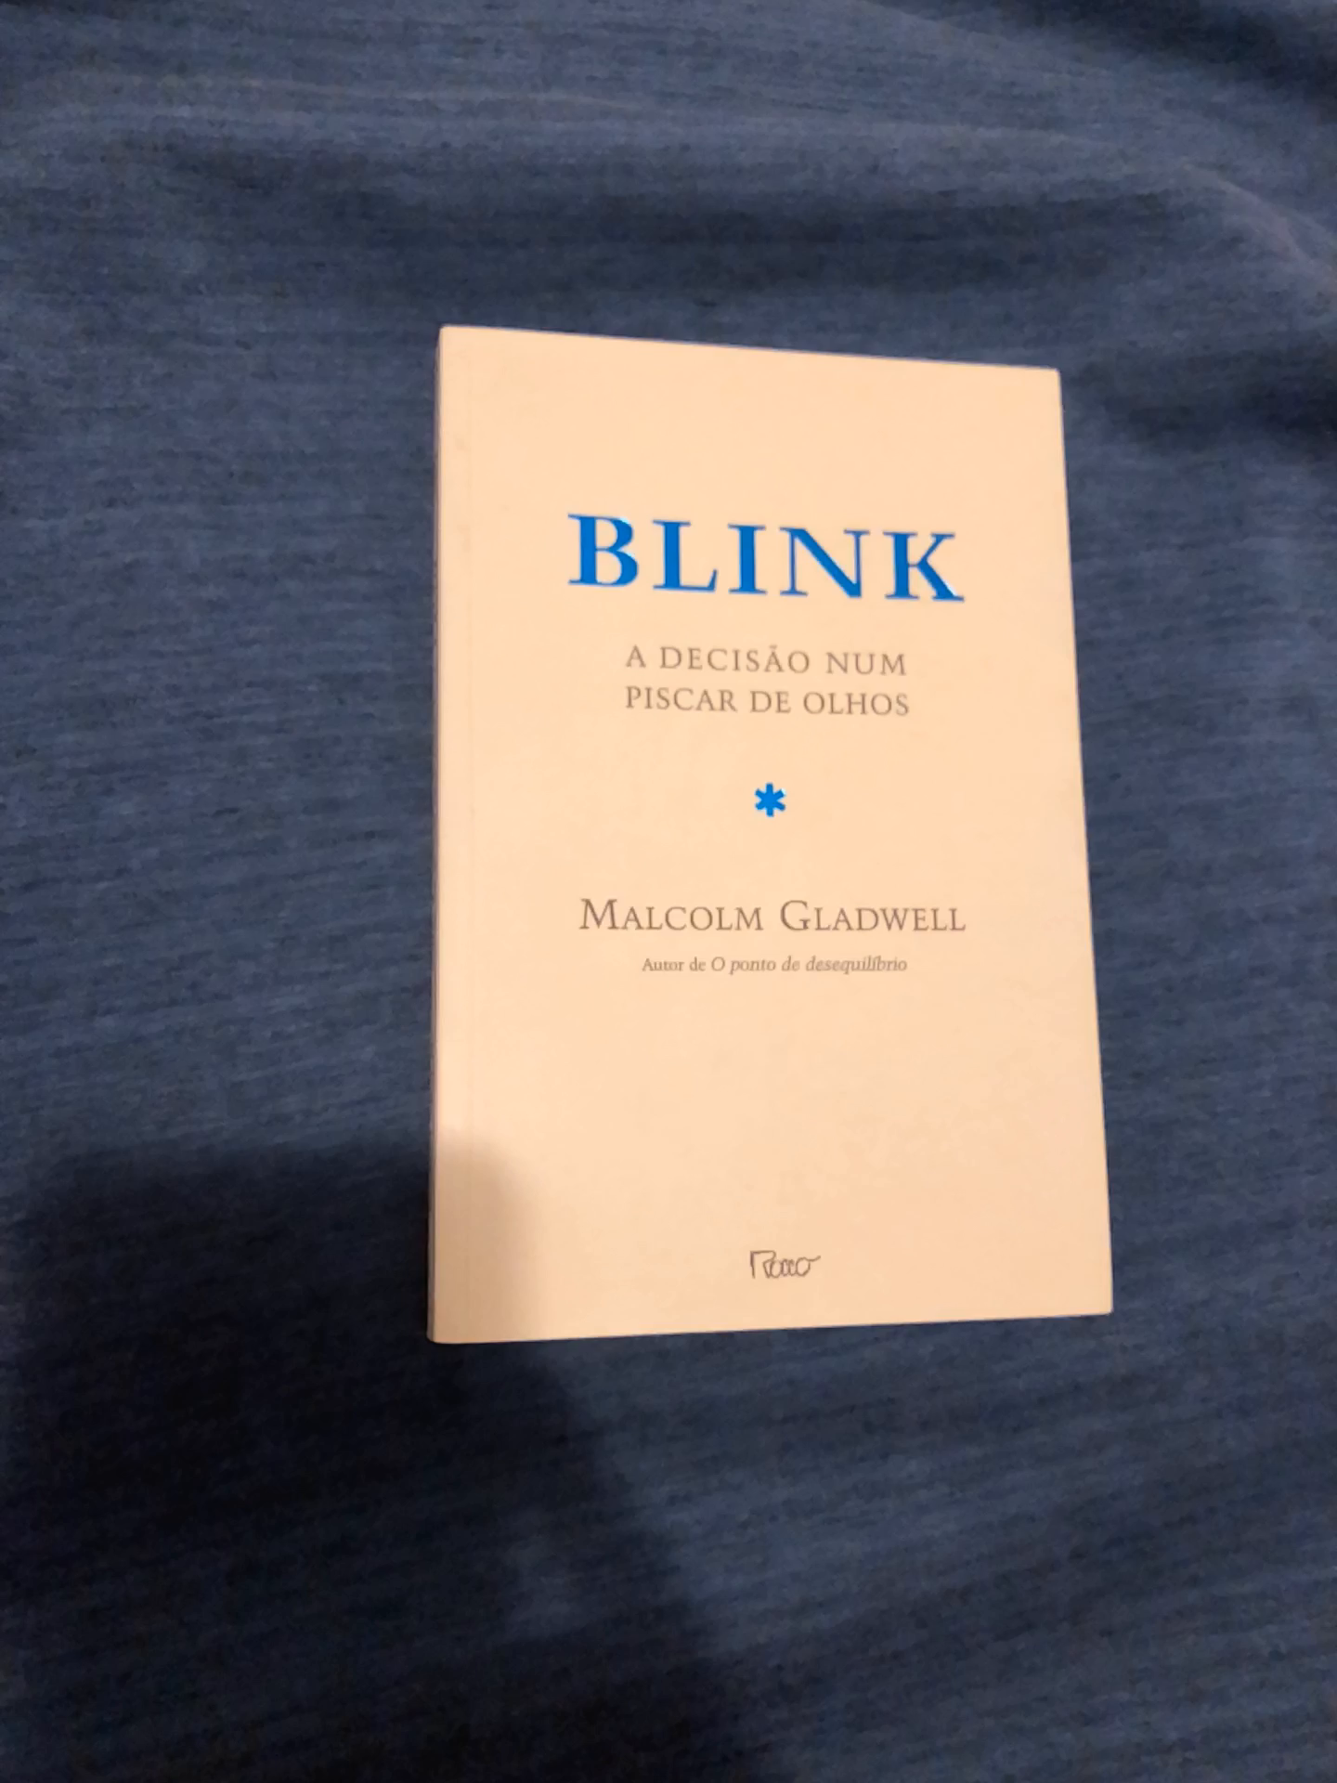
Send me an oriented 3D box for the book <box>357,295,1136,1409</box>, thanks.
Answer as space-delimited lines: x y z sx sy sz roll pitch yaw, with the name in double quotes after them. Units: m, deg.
0.012 -0.013 0.315 0.150 0.030 0.220 1 77 -12 "book"
